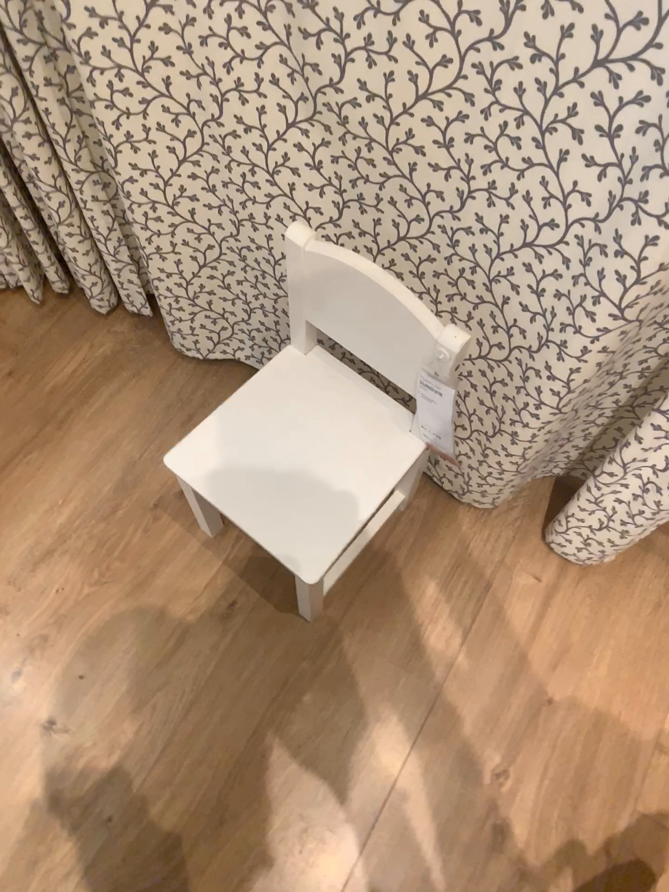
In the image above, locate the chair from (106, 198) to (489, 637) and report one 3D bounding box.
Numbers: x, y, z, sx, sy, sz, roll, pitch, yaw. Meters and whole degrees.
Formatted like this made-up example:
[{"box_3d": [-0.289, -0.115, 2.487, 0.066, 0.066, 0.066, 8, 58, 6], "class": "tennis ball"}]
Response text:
[{"box_3d": [-0.040, 0.015, 0.957, 0.270, 0.569, 0.290, 36, 69, 15], "class": "chair"}]
